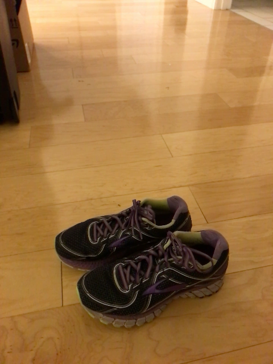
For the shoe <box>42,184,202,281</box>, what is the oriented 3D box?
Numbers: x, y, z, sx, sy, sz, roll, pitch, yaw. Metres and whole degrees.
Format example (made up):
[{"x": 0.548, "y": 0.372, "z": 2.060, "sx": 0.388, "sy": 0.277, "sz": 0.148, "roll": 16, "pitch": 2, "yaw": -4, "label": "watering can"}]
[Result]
[{"x": -0.030, "y": 0.087, "z": 0.559, "sx": 0.270, "sy": 0.069, "sz": 0.111, "roll": -9, "pitch": 41, "yaw": -13, "label": "shoe"}]

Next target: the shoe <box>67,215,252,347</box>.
[{"x": 0.034, "y": 0.152, "z": 0.495, "sx": 0.270, "sy": 0.069, "sz": 0.121, "roll": -12, "pitch": 42, "yaw": -16, "label": "shoe"}]
